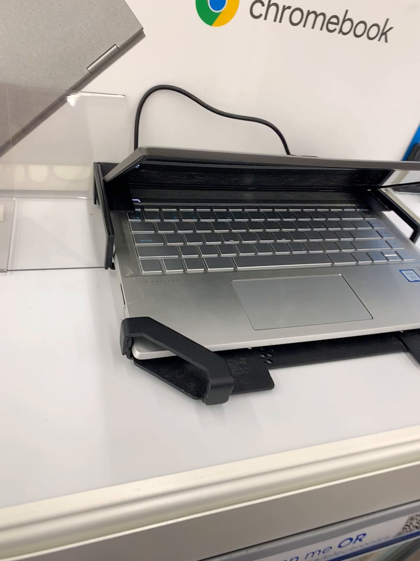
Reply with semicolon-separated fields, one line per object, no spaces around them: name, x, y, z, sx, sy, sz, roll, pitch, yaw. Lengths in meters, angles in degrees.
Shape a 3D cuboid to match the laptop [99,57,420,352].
laptop;0.072;-0.069;0.341;0.284;0.111;0.194;-3;43;-18
